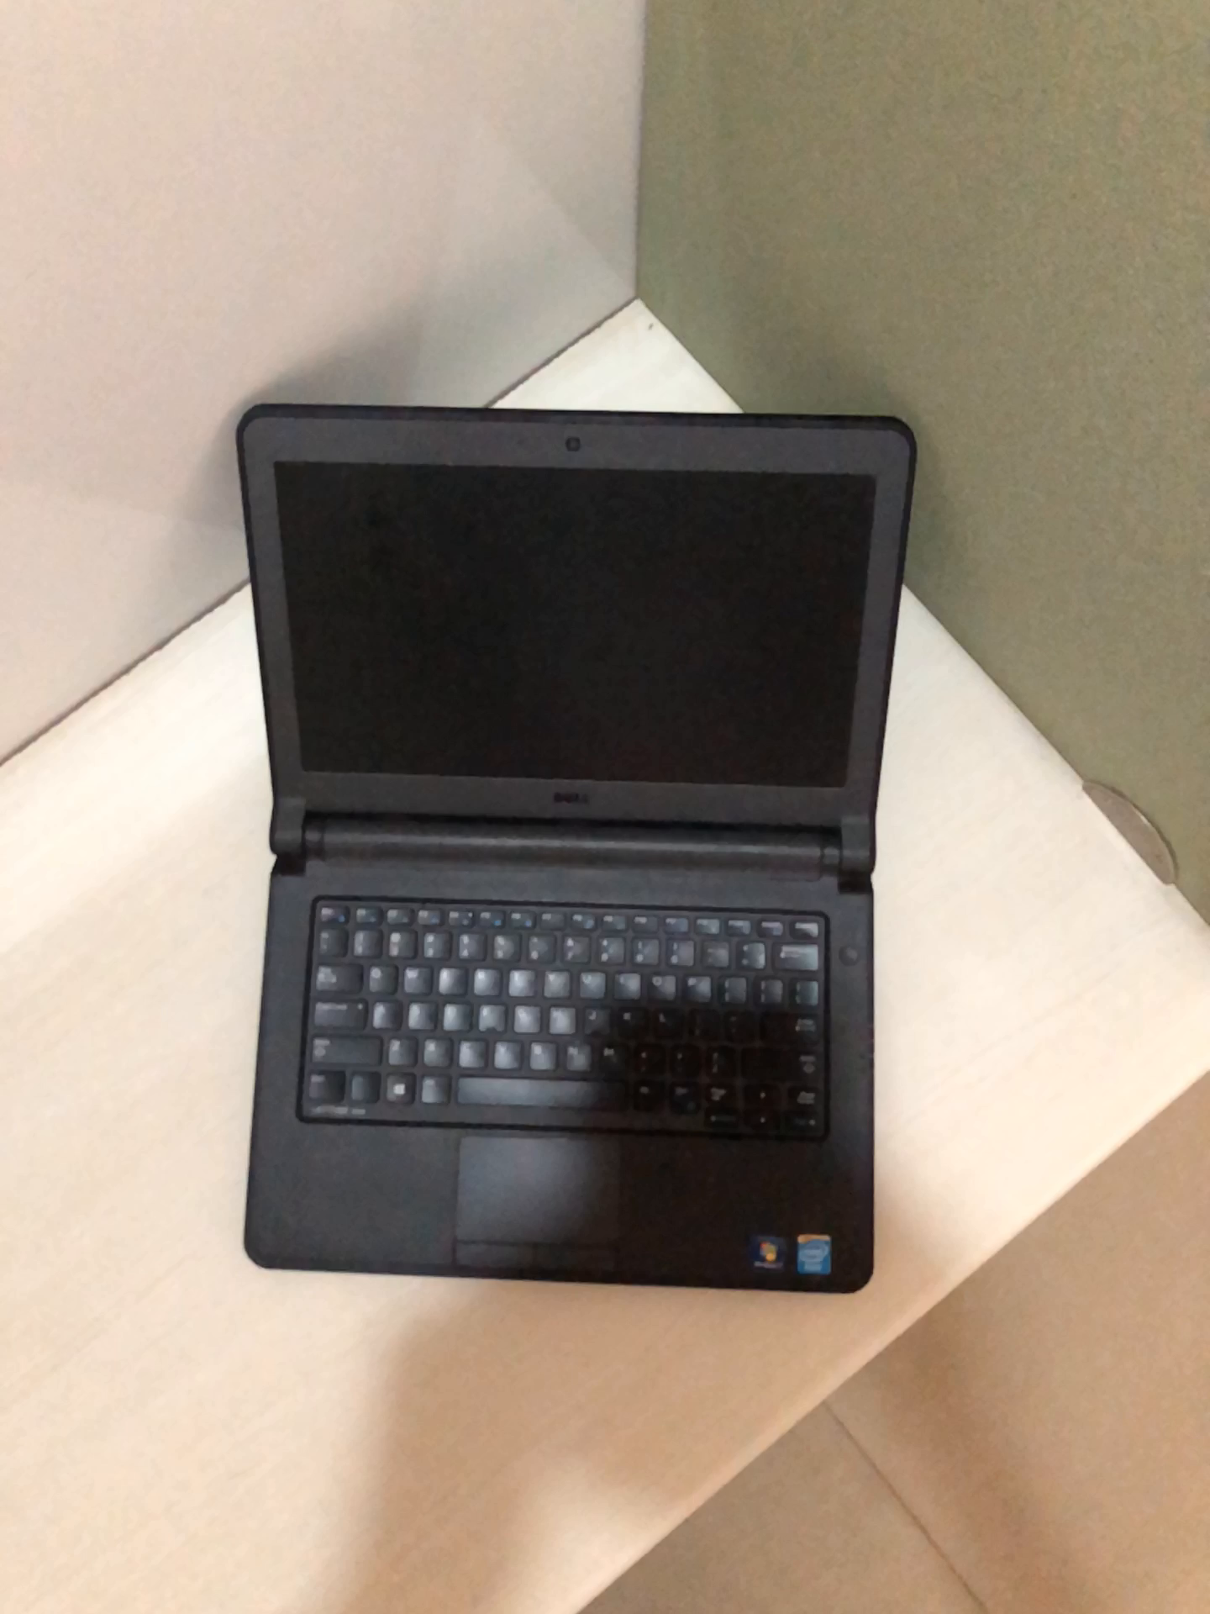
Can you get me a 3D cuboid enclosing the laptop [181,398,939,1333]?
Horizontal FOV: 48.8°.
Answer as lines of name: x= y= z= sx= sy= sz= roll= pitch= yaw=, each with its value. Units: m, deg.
laptop: x=-0.013 y=0.026 z=0.641 sx=0.309 sy=0.129 sz=0.394 roll=2 pitch=81 yaw=3
